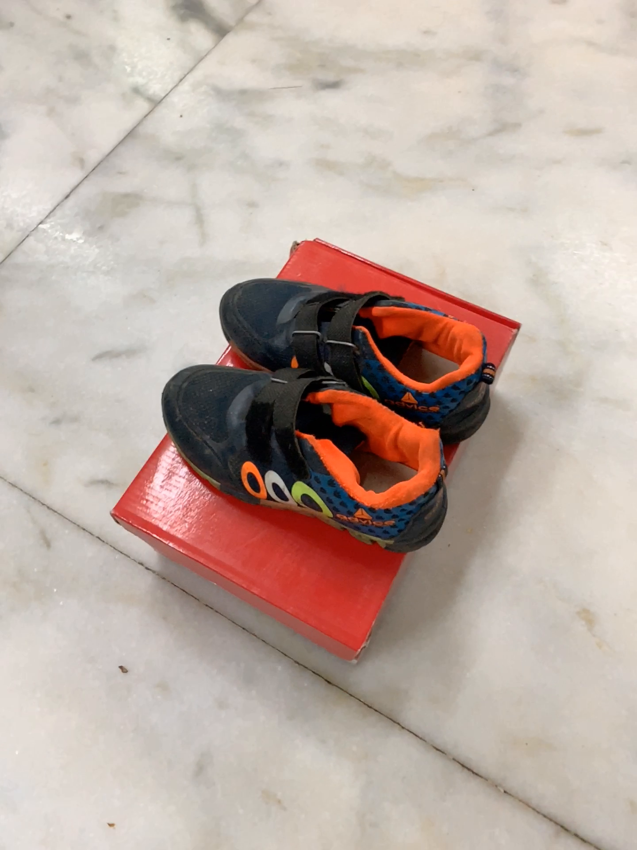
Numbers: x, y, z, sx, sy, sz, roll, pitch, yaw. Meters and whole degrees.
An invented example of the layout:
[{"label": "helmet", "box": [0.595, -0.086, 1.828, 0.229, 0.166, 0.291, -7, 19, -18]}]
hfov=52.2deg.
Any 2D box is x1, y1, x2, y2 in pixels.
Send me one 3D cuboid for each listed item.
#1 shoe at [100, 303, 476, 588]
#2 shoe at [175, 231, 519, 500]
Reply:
[{"label": "shoe", "box": [-0.019, 0.012, 0.420, 0.210, 0.080, 0.080, 24, 66, 13]}, {"label": "shoe", "box": [0.018, -0.043, 0.472, 0.210, 0.090, 0.090, 24, 66, 13]}]
